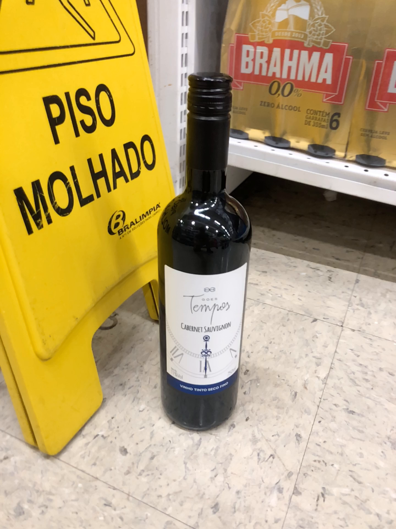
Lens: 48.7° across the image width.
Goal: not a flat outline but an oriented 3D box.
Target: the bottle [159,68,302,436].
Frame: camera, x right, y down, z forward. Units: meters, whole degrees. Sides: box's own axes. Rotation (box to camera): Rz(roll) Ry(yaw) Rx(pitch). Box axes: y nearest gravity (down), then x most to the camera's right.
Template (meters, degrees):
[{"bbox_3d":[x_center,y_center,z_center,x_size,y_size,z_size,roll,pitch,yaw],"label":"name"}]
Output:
[{"bbox_3d":[0.011,0.007,0.346,0.080,0.288,0.071,-1,30,-5],"label":"bottle"}]
